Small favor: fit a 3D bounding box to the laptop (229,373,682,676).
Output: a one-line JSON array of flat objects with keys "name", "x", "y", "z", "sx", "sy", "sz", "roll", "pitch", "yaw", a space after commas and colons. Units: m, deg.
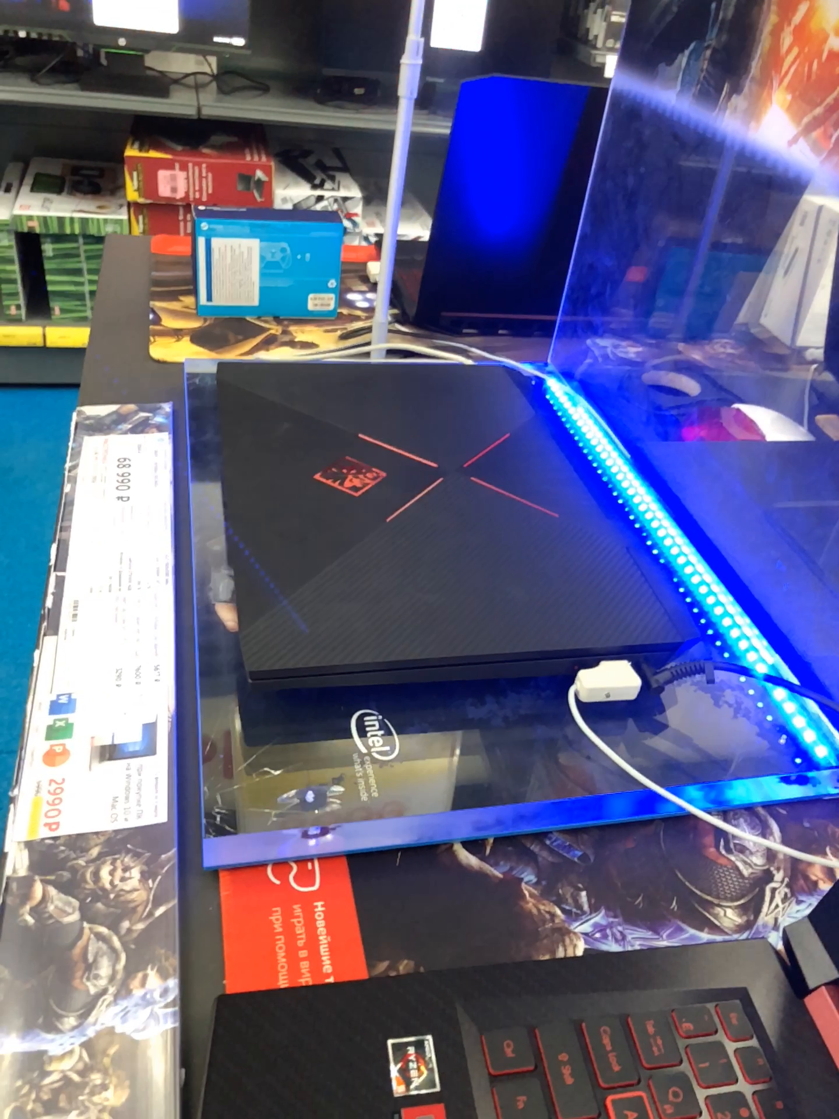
[{"name": "laptop", "x": -0.004, "y": -0.050, "z": 0.616, "sx": 0.237, "sy": 0.003, "sz": 0.351, "roll": -2, "pitch": 35, "yaw": -12}]
